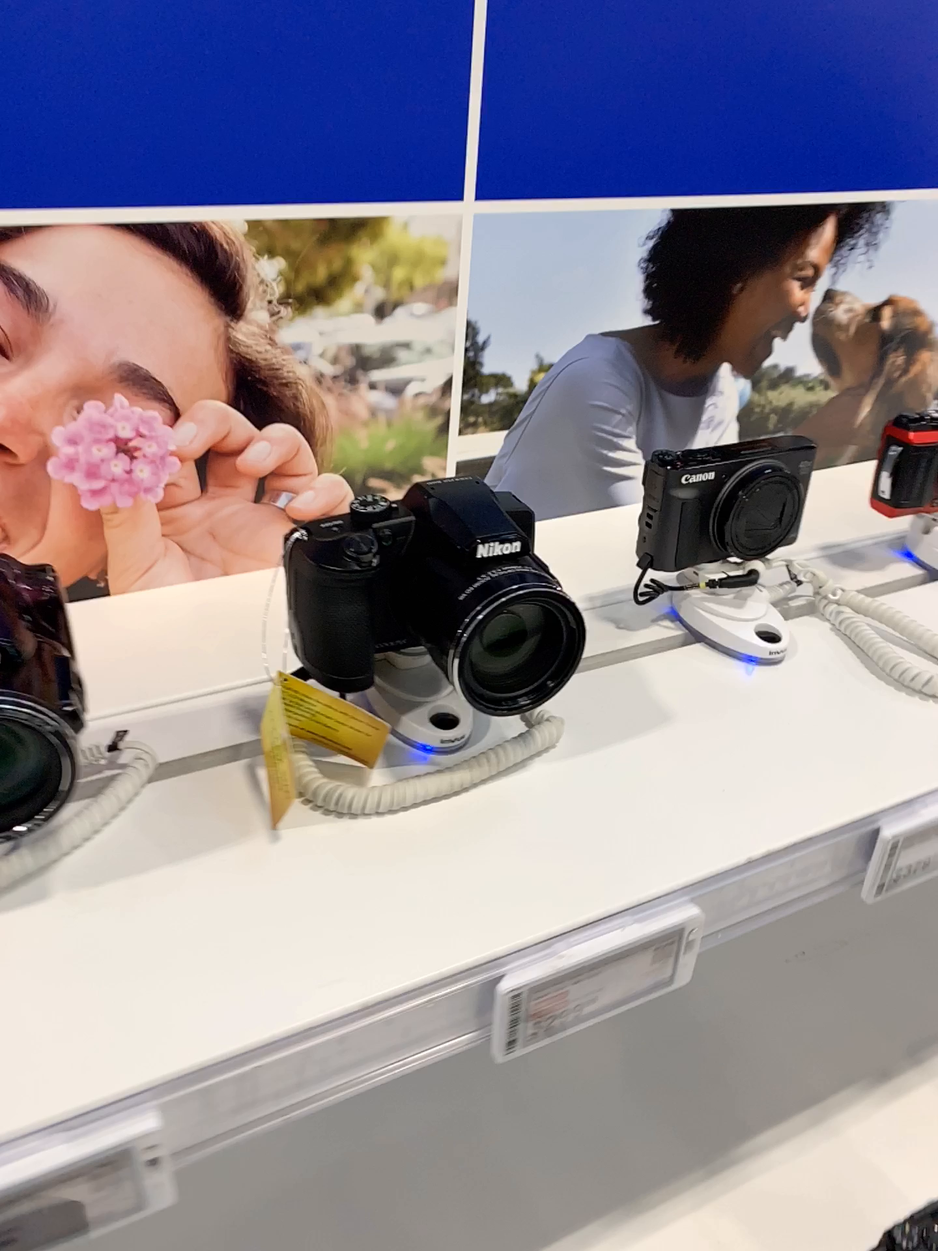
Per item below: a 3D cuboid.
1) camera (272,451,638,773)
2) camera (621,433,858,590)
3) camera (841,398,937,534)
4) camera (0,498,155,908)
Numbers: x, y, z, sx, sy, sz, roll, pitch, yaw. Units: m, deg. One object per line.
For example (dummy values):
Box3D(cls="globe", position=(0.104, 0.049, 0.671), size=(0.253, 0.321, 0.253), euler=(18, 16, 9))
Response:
Box3D(cls="camera", position=(-0.011, -0.014, 0.428), size=(0.120, 0.080, 0.111), euler=(-12, 33, -23))
Box3D(cls="camera", position=(0.156, -0.069, 0.563), size=(0.120, 0.060, 0.050), euler=(-12, 33, -23))
Box3D(cls="camera", position=(0.321, -0.108, 0.642), size=(0.130, 0.060, 0.050), euler=(-12, 33, -23))
Box3D(cls="camera", position=(-0.199, 0.019, 0.361), size=(0.130, 0.080, 0.111), euler=(-12, 33, -23))
